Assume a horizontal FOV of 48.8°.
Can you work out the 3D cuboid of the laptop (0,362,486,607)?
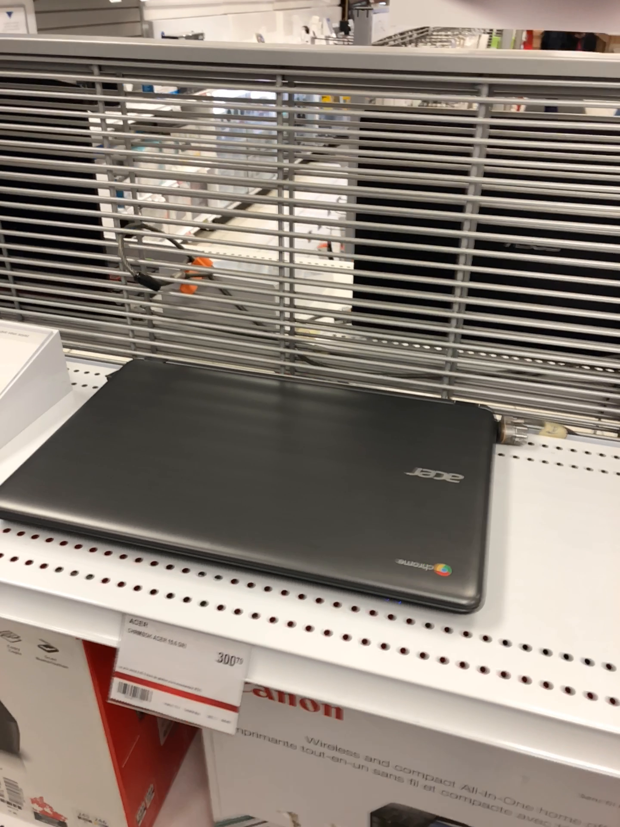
[{"bbox_3d":[-0.041,0.034,0.581,0.367,0.001,0.238,8,33,15],"label":"laptop"}]
